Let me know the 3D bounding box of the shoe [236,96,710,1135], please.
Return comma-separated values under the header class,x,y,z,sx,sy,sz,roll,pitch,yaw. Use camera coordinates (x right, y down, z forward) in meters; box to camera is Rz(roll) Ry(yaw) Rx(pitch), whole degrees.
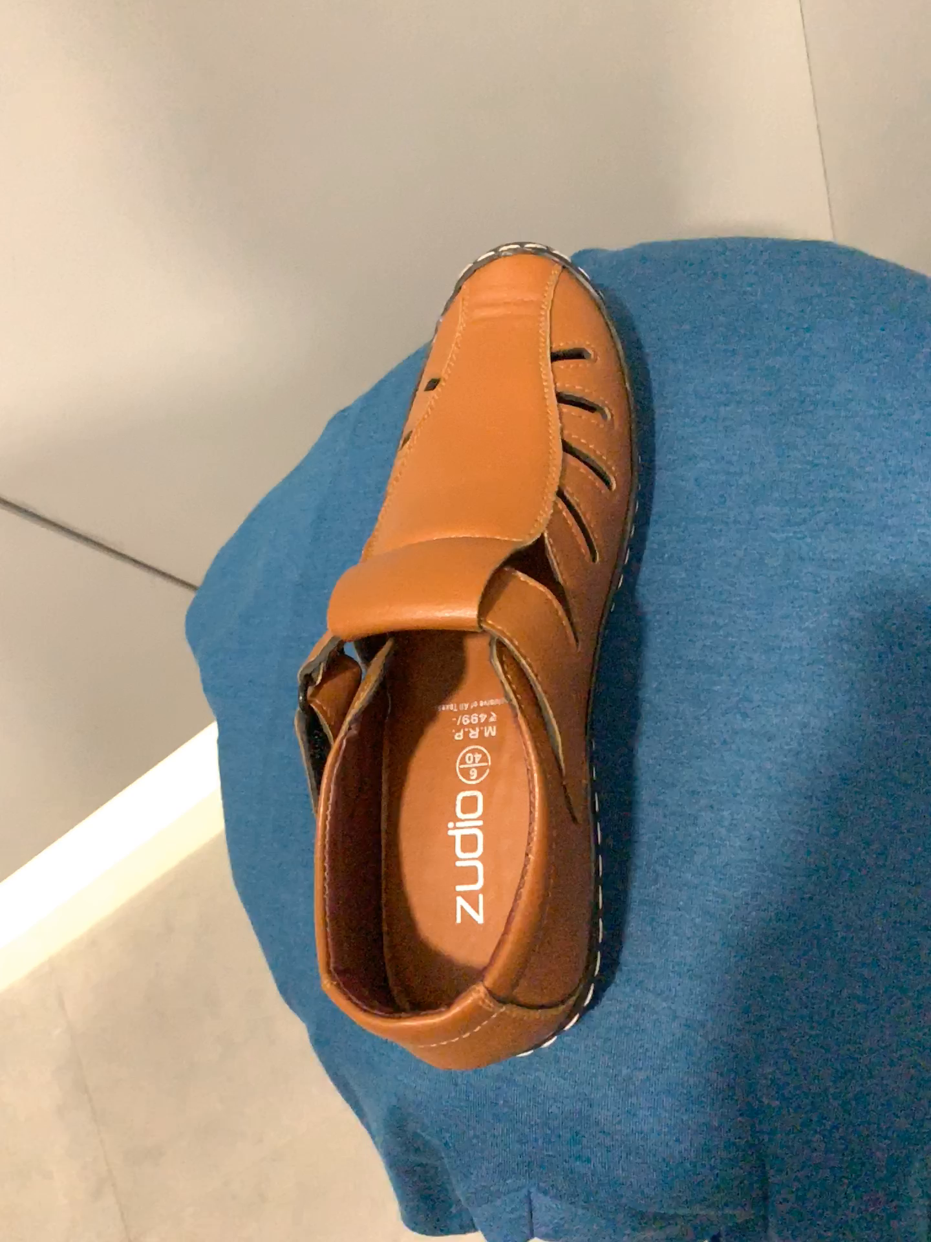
class,x,y,z,sx,sy,sz,roll,pitch,yaw
shoe,0.014,-0.004,0.304,0.100,0.100,0.270,-5,73,25
